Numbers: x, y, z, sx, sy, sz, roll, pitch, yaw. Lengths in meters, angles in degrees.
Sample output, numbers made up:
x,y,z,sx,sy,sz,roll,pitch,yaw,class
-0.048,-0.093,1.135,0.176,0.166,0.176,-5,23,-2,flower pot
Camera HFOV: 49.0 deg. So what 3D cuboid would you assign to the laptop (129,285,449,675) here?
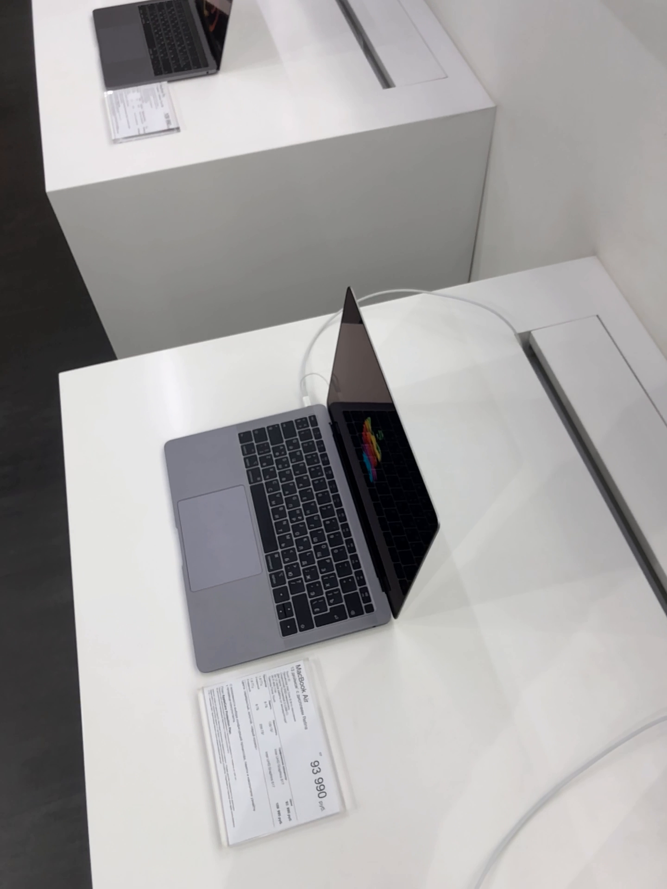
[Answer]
x,y,z,sx,sy,sz,roll,pitch,yaw,class
-0.052,0.034,0.765,0.250,0.194,0.286,-15,56,-5,laptop
